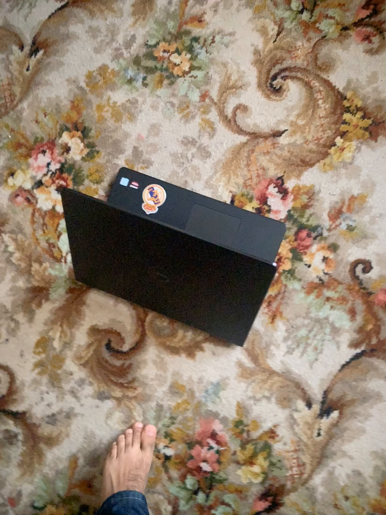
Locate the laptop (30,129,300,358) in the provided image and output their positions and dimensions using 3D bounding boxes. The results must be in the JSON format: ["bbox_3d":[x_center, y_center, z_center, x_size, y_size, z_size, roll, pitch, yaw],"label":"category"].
[{"bbox_3d":[-0.041,-0.022,0.710,0.366,0.194,0.251,20,88,10],"label":"laptop"}]
